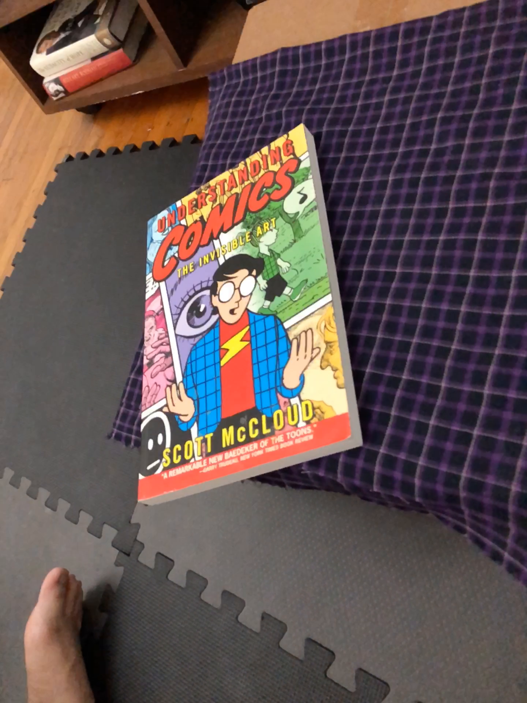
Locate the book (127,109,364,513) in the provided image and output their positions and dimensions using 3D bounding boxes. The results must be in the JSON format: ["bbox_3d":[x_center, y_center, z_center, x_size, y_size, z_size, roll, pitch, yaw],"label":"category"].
[{"bbox_3d":[-0.028,-0.036,0.424,0.170,0.020,0.271,-22,56,29],"label":"book"}]
